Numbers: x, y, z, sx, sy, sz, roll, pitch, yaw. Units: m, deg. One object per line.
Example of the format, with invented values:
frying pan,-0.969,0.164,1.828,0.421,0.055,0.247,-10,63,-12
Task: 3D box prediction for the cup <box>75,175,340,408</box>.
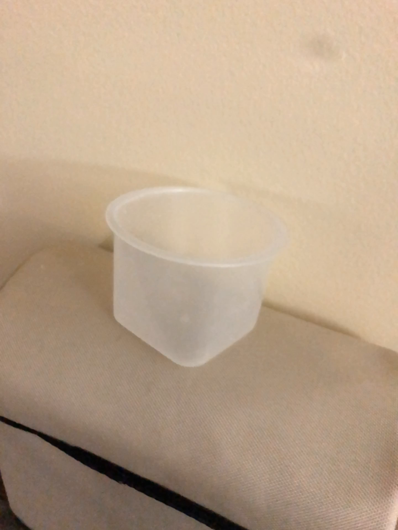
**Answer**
cup,0.003,0.003,0.199,0.080,0.046,0.076,5,32,-3
